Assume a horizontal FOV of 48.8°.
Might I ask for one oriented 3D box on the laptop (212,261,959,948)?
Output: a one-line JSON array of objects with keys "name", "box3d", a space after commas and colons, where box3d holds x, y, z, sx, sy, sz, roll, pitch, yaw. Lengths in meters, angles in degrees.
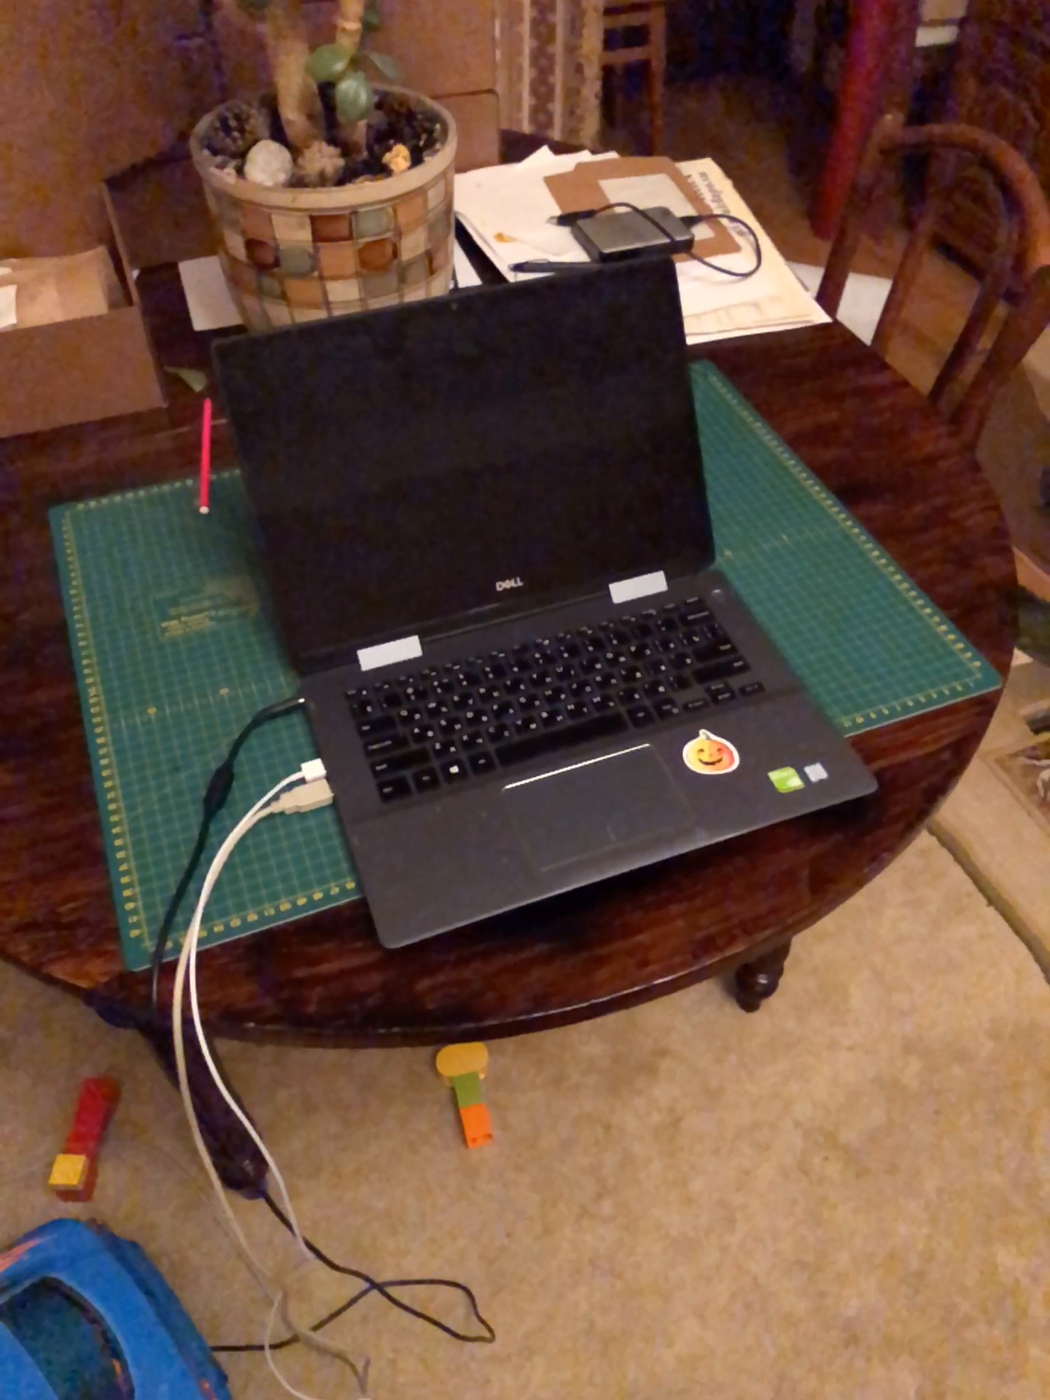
[{"name": "laptop", "box3d": [0.013, -0.082, 0.731, 0.321, 0.192, 0.338, -16, 49, -13]}]
